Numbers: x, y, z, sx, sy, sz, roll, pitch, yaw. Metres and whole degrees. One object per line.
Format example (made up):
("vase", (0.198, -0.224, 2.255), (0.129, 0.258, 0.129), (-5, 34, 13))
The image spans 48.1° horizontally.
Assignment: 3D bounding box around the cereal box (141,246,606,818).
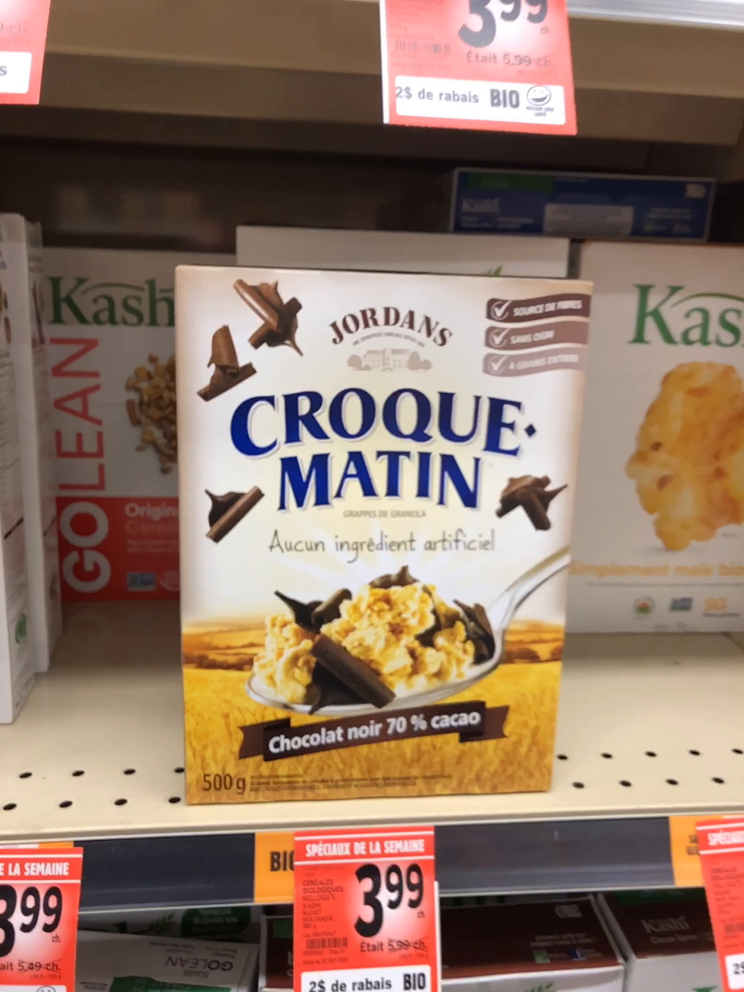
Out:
("cereal box", (-0.003, 0.019, 0.388), (0.190, 0.249, 0.050), (0, 12, -7))
